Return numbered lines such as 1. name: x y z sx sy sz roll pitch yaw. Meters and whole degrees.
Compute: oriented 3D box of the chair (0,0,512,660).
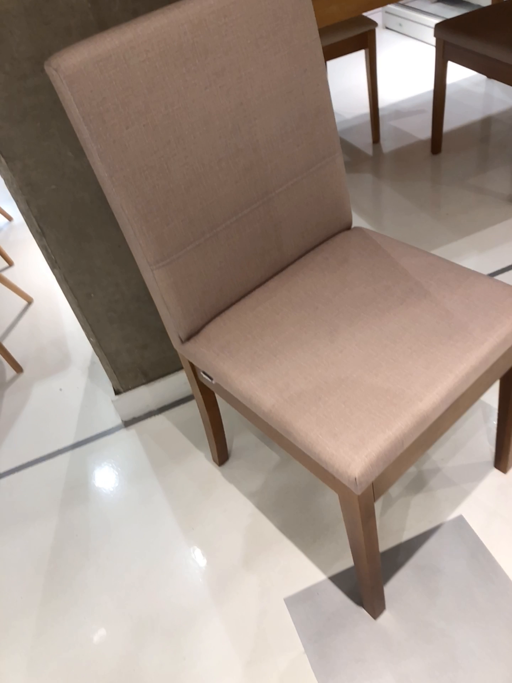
1. chair: 0.122 -0.043 0.961 0.561 0.933 0.543 -36 47 -22
